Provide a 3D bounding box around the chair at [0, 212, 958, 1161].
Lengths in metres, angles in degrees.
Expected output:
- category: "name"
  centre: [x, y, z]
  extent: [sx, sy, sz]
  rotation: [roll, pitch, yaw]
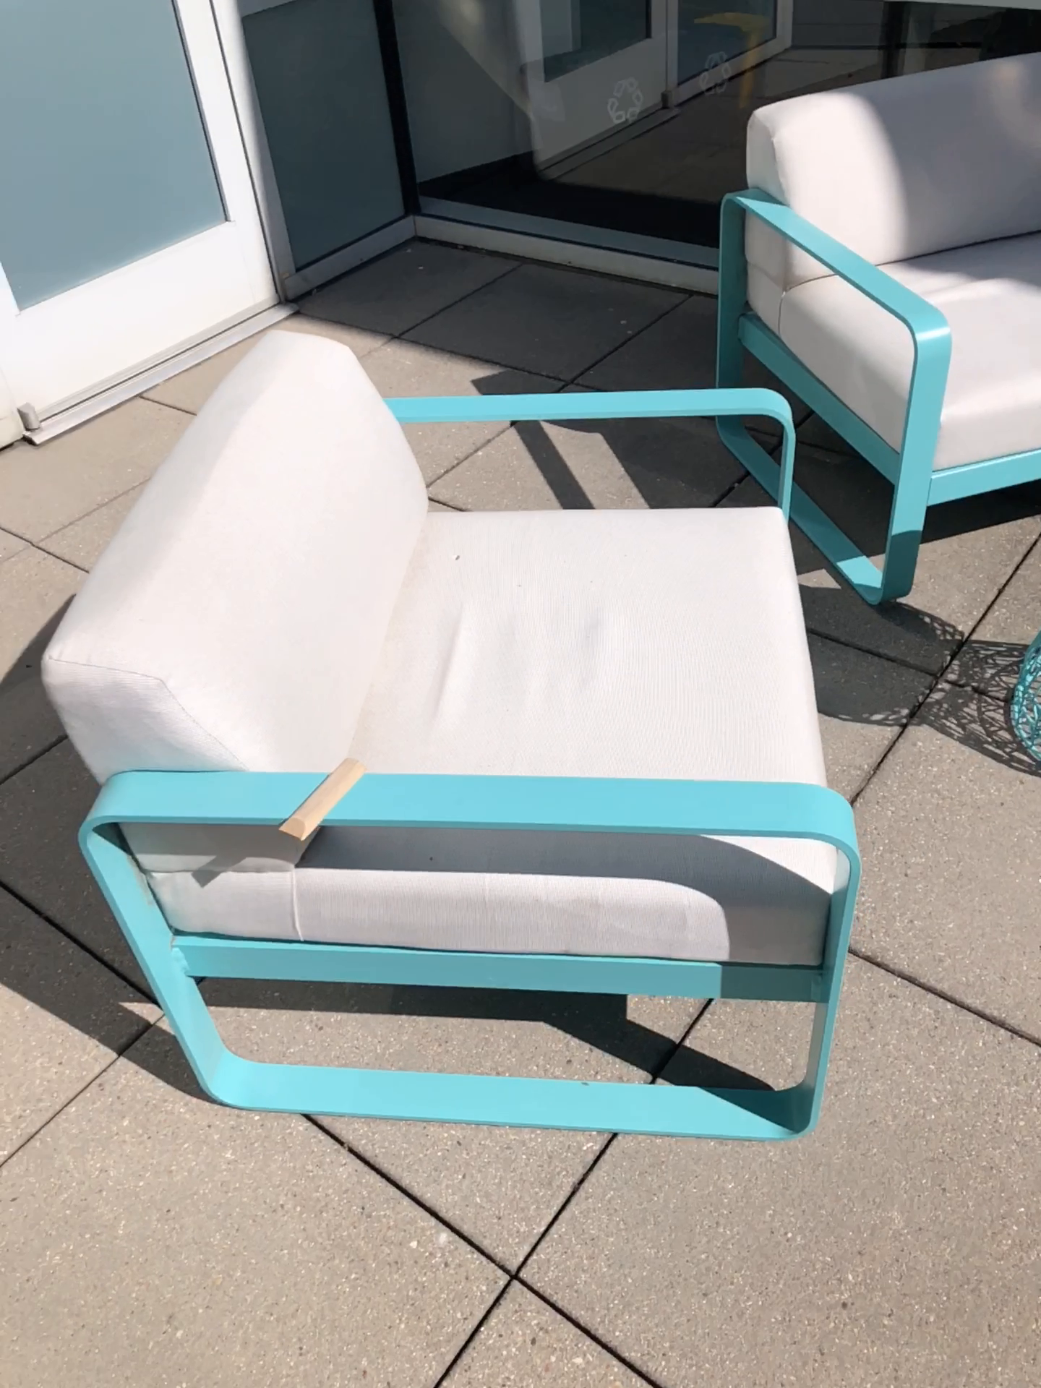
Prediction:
- category: "chair"
  centre: [-0.058, -0.039, 1.459]
  extent: [0.870, 0.766, 0.904]
  rotation: [-1, 40, 6]
